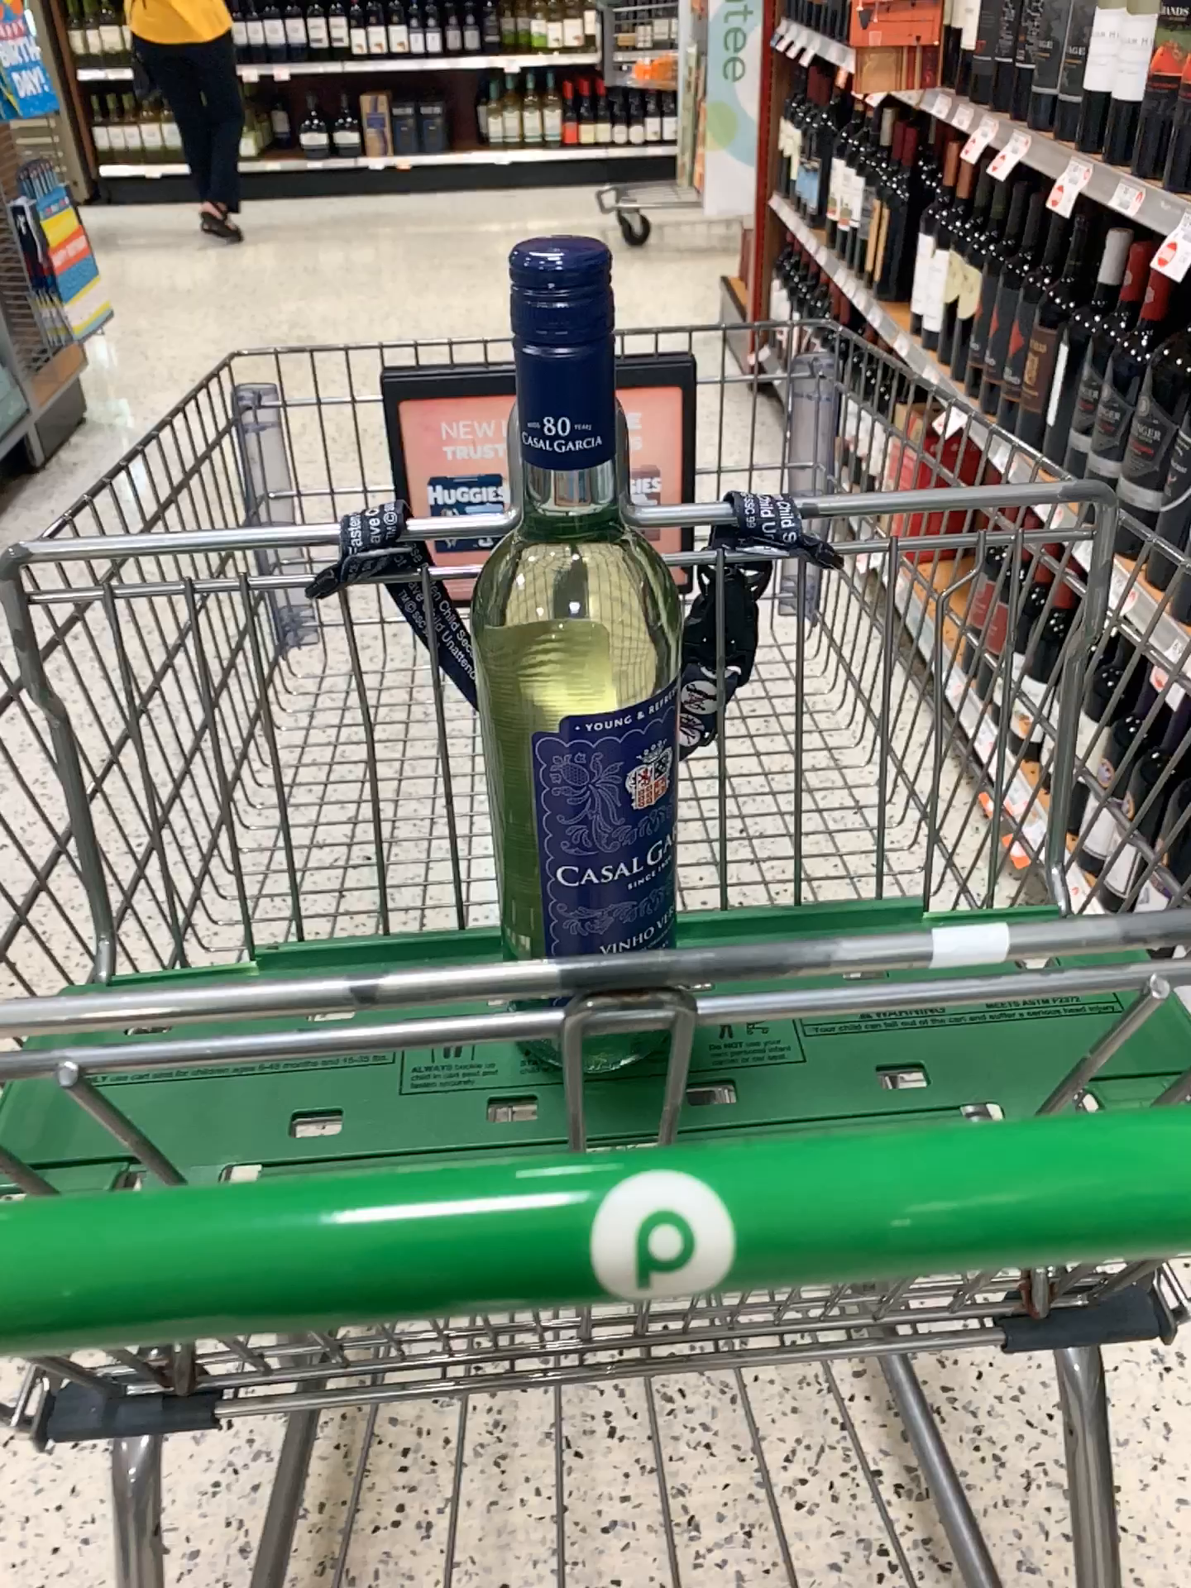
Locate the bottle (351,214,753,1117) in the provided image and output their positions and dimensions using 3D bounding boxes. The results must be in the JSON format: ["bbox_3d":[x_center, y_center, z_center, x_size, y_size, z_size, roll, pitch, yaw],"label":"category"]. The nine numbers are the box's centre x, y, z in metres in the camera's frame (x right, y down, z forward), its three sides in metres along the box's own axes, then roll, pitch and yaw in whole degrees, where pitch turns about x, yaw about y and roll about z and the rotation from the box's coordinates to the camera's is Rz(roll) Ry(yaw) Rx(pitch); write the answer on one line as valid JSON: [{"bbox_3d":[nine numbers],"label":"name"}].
[{"bbox_3d":[-0.008,-0.031,0.430,0.080,0.297,0.080,-1,35,1],"label":"bottle"}]
